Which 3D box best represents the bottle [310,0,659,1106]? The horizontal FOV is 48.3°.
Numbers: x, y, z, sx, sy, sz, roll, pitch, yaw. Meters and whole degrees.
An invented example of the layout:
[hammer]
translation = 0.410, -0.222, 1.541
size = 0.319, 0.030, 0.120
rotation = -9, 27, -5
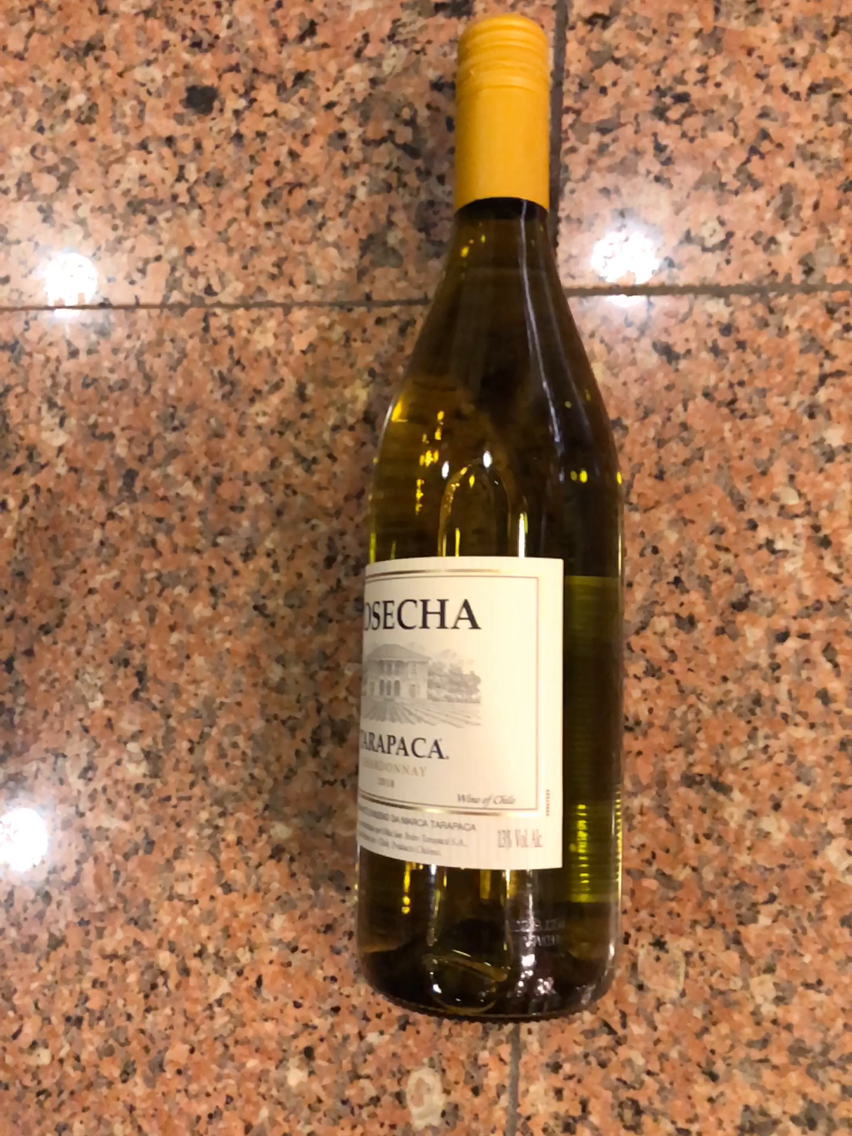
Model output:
[bottle]
translation = 0.024, -0.033, 0.294
size = 0.090, 0.070, 0.340
rotation = 0, 84, 12
